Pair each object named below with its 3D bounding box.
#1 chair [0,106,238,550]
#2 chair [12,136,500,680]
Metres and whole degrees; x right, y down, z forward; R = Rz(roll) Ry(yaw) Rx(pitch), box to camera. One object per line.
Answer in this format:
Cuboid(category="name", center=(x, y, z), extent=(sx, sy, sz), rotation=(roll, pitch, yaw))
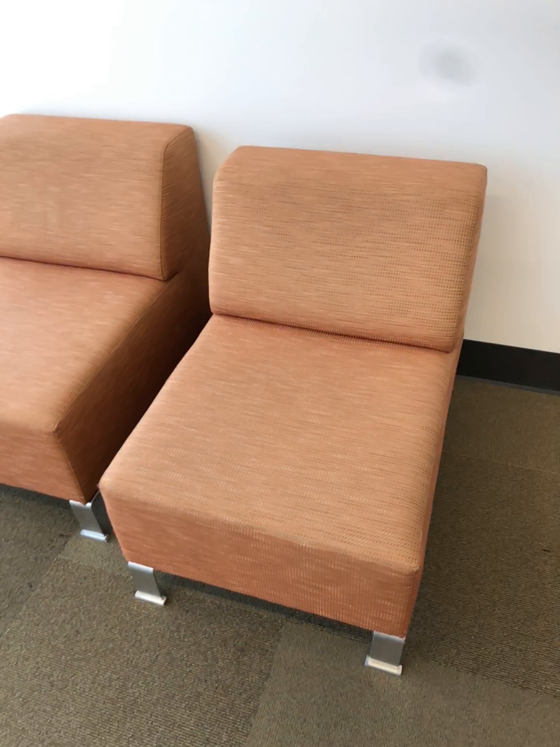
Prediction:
Cuboid(category="chair", center=(-0.681, -0.196, 1.790), extent=(0.765, 0.810, 0.935), rotation=(9, 42, 15))
Cuboid(category="chair", center=(0.064, 0.002, 1.457), extent=(0.695, 0.760, 0.925), rotation=(10, 42, 16))
